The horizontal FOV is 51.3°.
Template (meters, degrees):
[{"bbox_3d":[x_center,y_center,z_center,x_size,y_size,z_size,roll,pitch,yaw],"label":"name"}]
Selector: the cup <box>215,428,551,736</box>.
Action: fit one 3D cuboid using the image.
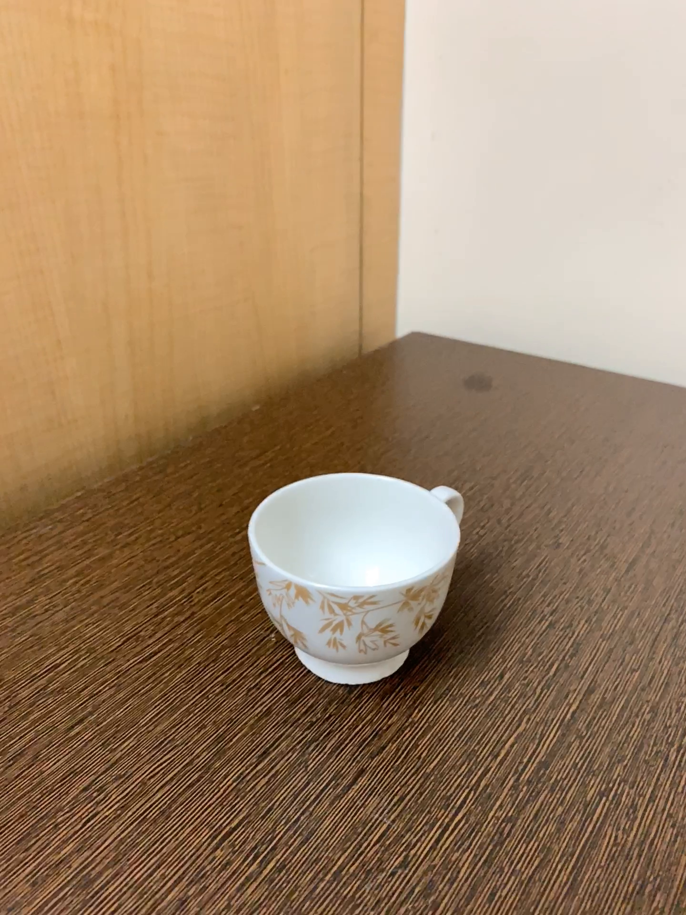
[{"bbox_3d":[0.017,0.038,0.277,0.080,0.050,0.100,21,34,36],"label":"cup"}]
